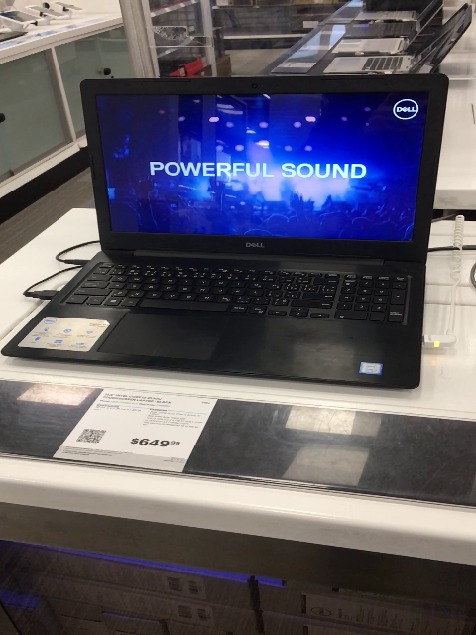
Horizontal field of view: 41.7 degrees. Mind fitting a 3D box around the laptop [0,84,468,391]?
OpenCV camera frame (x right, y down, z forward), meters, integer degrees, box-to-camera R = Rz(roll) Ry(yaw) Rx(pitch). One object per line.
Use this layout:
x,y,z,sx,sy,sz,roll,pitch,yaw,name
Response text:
-0.004,-0.106,0.667,0.424,0.221,0.293,5,36,10,laptop
